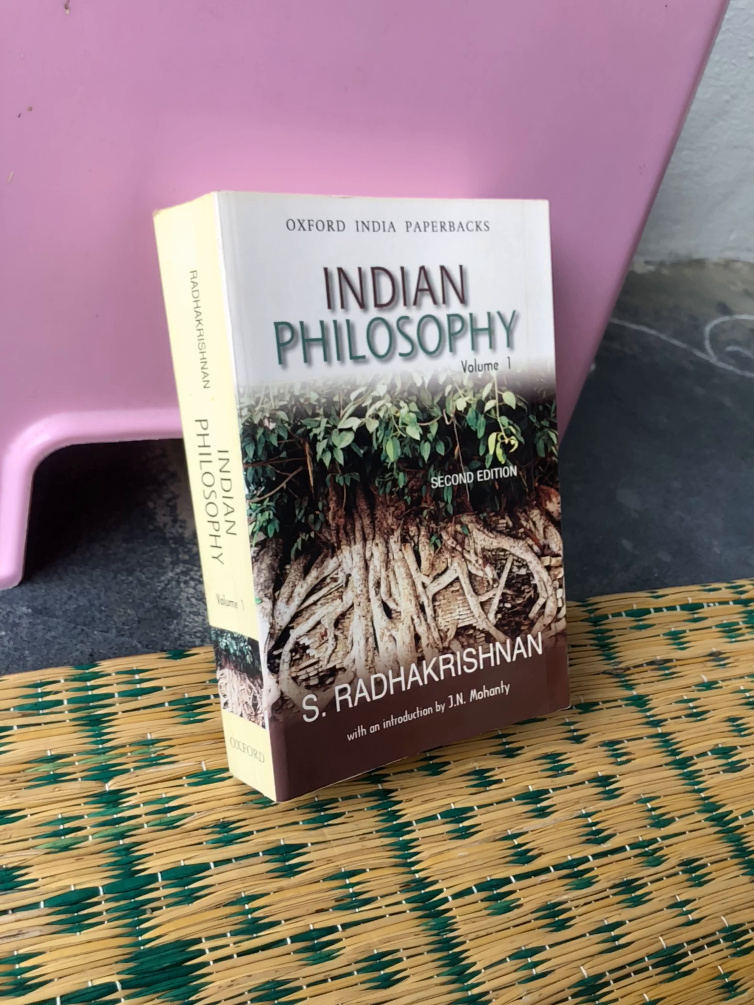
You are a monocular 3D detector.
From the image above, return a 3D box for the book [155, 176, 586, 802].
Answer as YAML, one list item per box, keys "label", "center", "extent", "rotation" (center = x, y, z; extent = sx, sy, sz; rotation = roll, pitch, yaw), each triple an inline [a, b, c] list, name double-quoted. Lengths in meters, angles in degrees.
- label: "book"
  center: [0.000, -0.011, 0.345]
  extent: [0.141, 0.210, 0.070]
  rotation: [-8, 5, -30]
